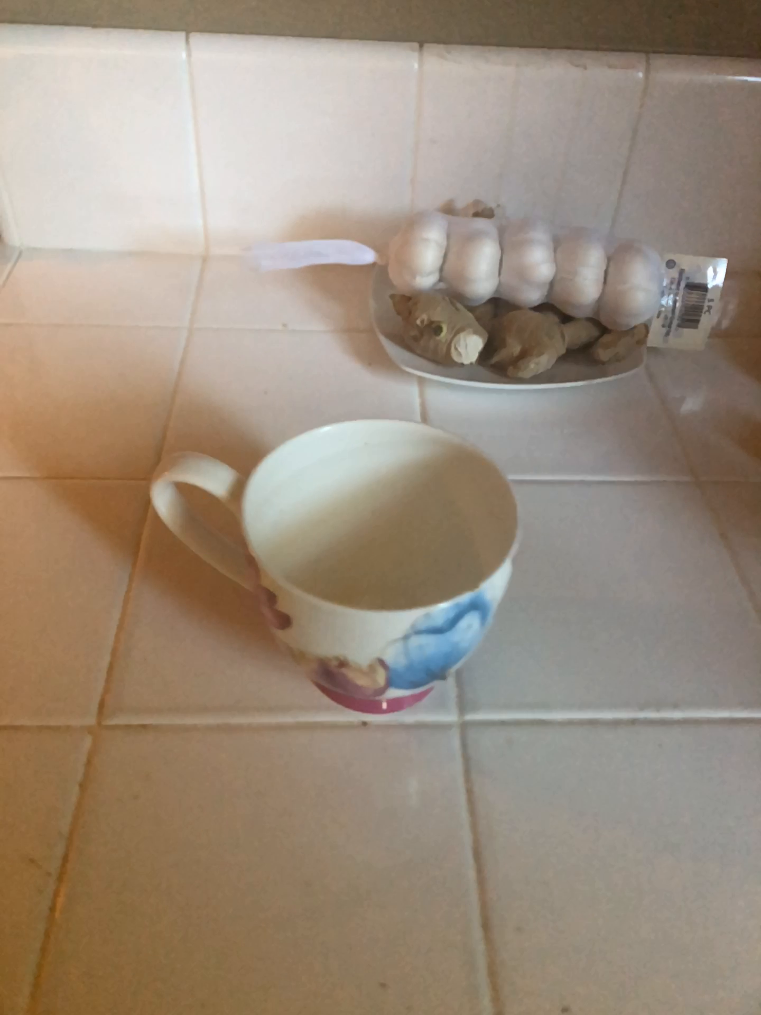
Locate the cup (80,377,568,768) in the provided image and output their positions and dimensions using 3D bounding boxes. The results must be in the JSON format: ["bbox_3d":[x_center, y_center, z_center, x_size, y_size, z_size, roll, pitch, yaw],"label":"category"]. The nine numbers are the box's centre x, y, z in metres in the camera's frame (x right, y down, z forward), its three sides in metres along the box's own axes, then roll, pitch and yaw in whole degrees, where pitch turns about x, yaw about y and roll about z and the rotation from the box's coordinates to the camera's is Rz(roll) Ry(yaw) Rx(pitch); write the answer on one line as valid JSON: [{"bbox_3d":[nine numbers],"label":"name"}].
[{"bbox_3d":[-0.018,0.024,0.362,0.170,0.089,0.101,12,45,8],"label":"cup"}]
